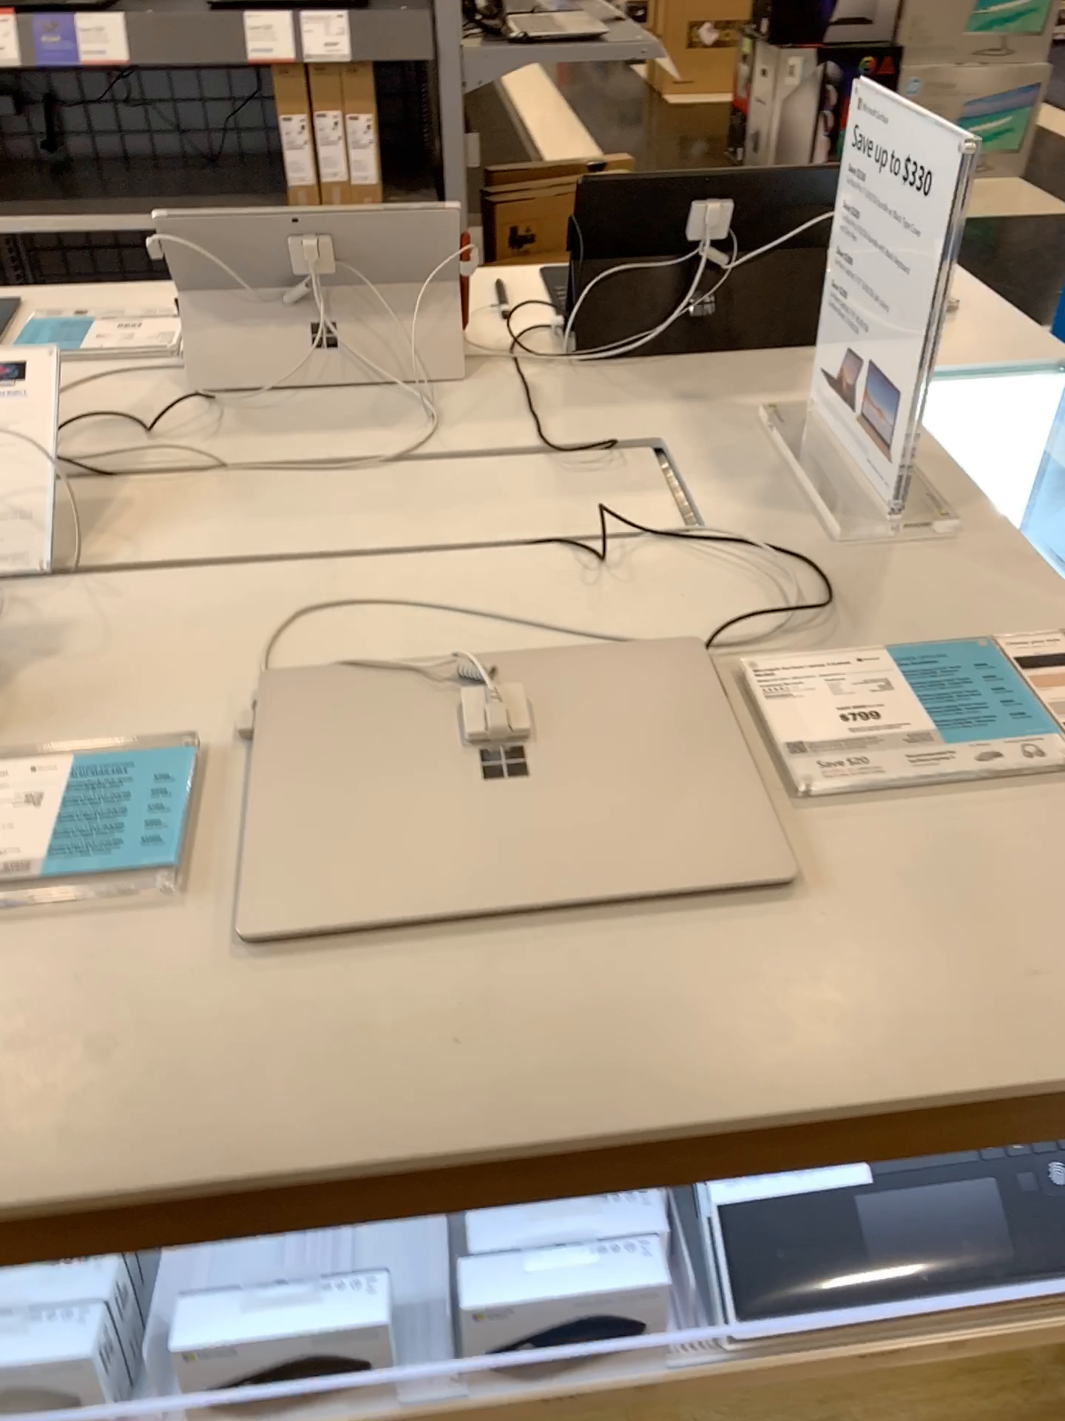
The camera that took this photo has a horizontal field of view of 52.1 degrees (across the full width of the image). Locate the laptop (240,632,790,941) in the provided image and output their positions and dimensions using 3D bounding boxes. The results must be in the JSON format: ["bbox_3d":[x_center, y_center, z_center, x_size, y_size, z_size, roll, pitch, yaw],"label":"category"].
[{"bbox_3d":[-0.020,0.032,0.667,0.297,0.008,0.221,-5,41,-7],"label":"laptop"}]
